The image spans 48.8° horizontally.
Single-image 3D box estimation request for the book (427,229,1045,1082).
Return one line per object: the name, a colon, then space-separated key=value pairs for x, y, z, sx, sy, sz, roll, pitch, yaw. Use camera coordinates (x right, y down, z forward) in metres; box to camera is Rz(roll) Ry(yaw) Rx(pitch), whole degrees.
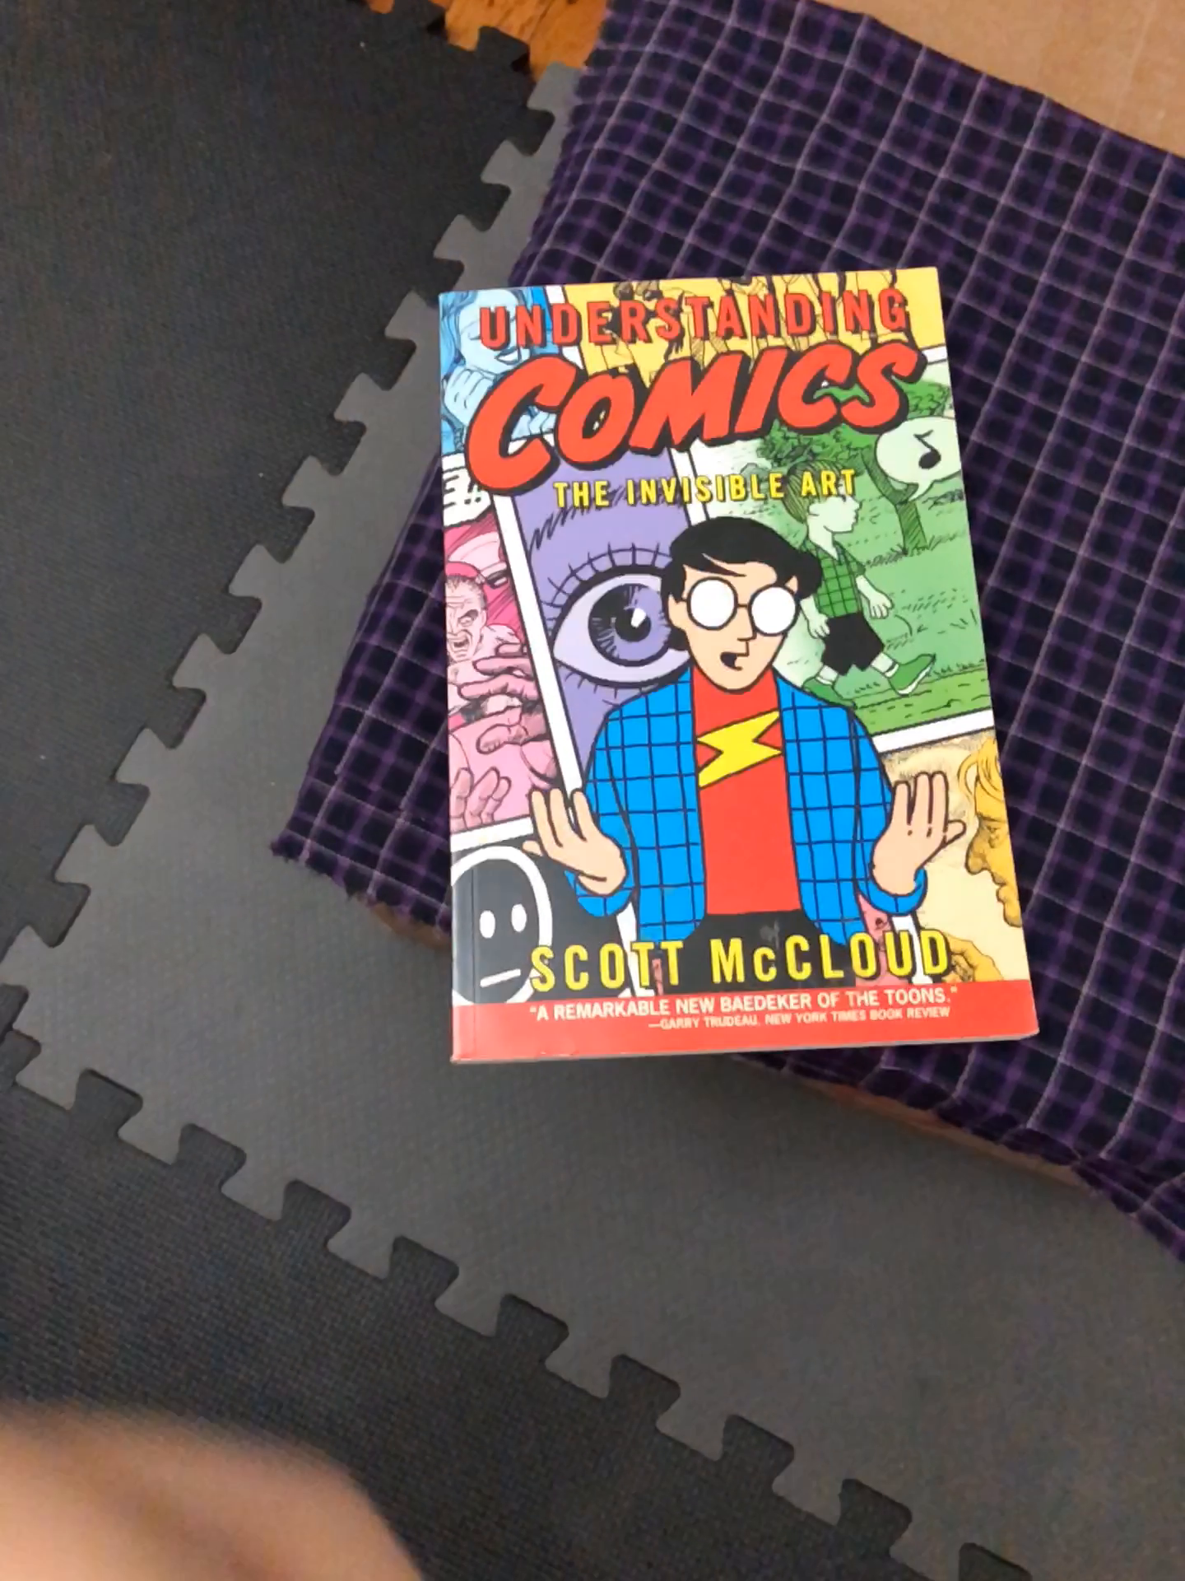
book: x=0.036 y=-0.051 z=0.411 sx=0.170 sy=0.020 sz=0.270 roll=-3 pitch=75 yaw=0
